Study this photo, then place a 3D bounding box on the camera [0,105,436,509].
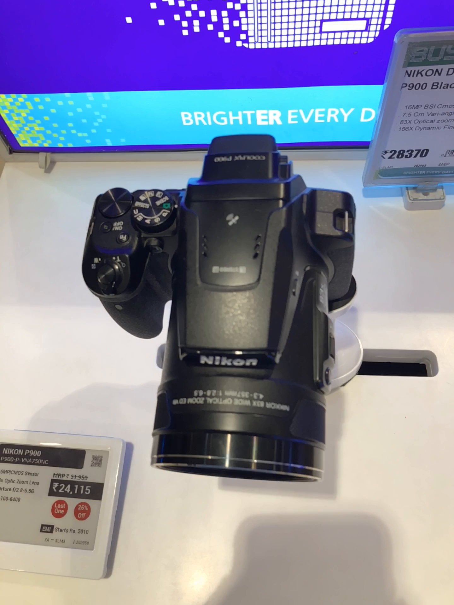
[{"bbox_3d":[-0.006,0.006,0.217,0.140,0.100,0.141,1,63,5],"label":"camera"}]
